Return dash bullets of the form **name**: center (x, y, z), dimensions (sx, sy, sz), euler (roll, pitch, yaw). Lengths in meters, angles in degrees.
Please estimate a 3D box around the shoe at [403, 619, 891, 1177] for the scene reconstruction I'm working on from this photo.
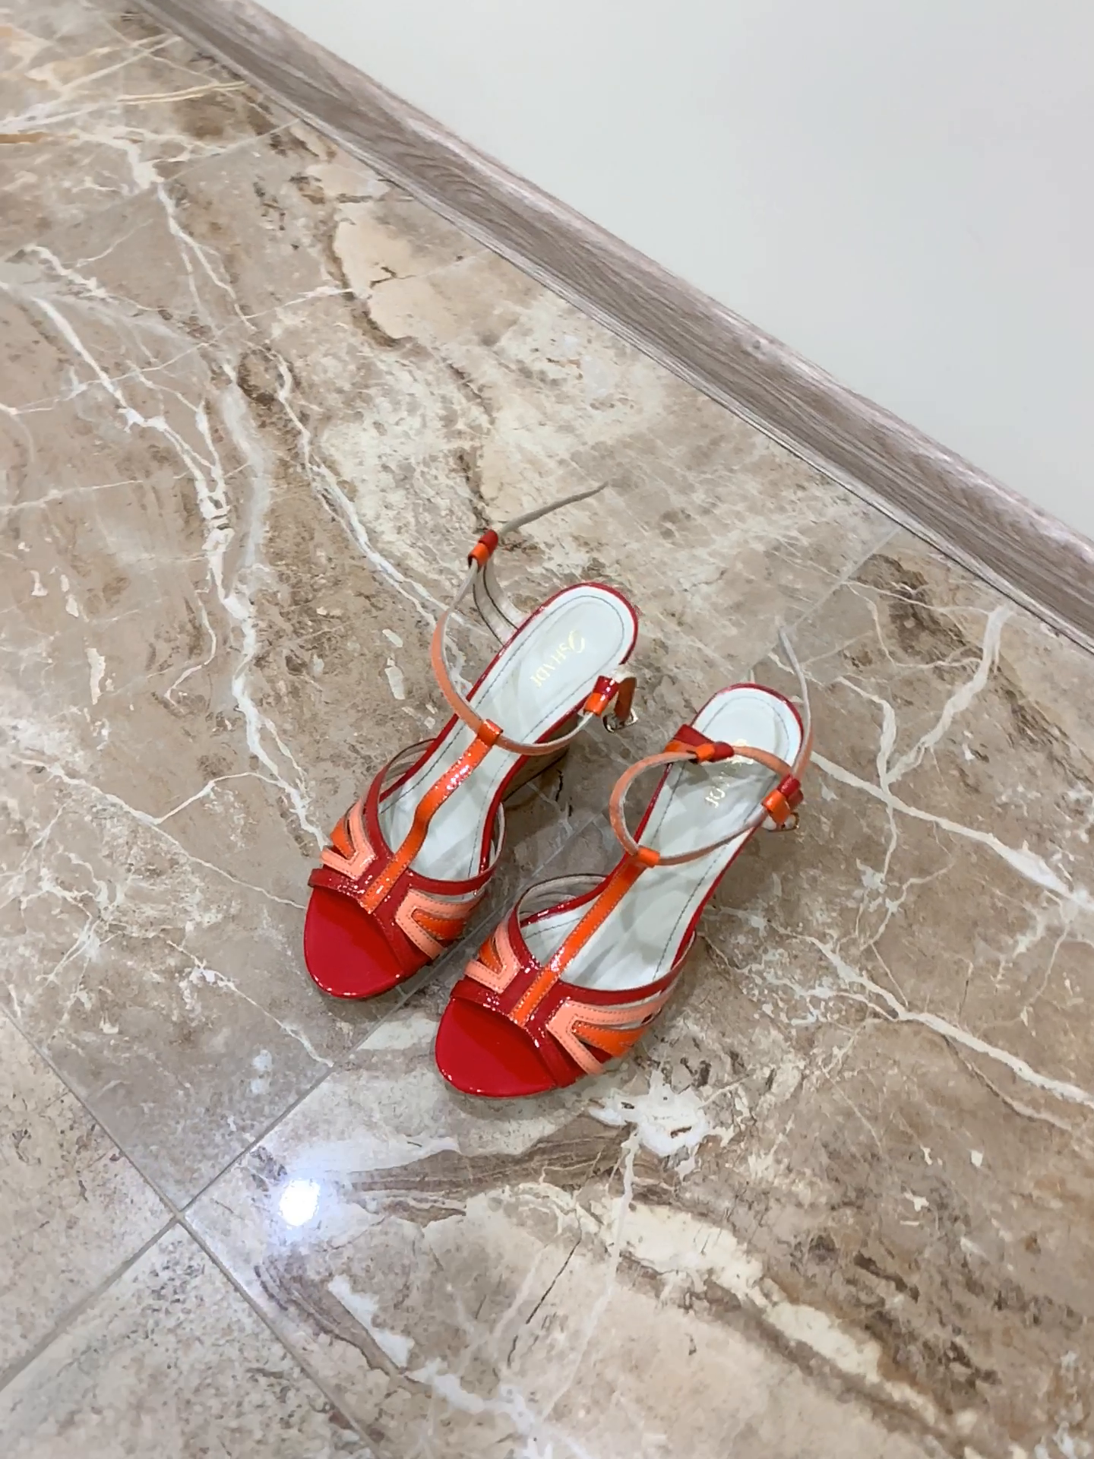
- **shoe**: center (0.042, 0.075, 0.502), dimensions (0.080, 0.130, 0.218), euler (38, 63, 16)

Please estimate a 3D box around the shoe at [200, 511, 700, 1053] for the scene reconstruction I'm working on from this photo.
- **shoe**: center (-0.039, 0.025, 0.529), dimensions (0.083, 0.140, 0.218), euler (38, 63, 16)
